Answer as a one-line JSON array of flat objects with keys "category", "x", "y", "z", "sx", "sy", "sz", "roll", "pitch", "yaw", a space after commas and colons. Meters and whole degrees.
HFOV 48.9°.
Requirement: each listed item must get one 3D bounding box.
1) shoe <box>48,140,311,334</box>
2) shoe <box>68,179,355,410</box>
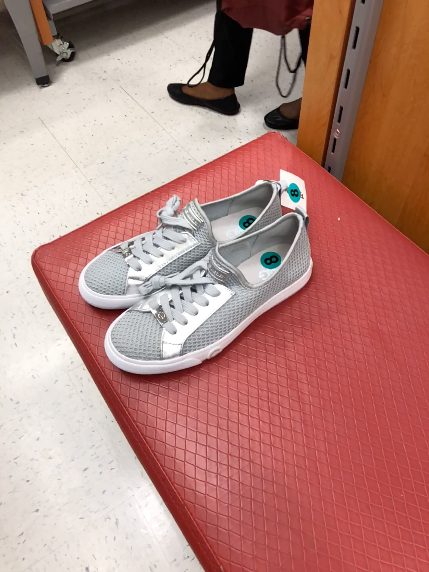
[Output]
[{"category": "shoe", "x": -0.037, "y": -0.061, "z": 0.555, "sx": 0.268, "sy": 0.096, "sz": 0.106, "roll": -22, "pitch": 57, "yaw": -12}, {"category": "shoe", "x": 0.002, "y": 0.003, "z": 0.507, "sx": 0.268, "sy": 0.095, "sz": 0.106, "roll": -27, "pitch": 58, "yaw": -16}]
